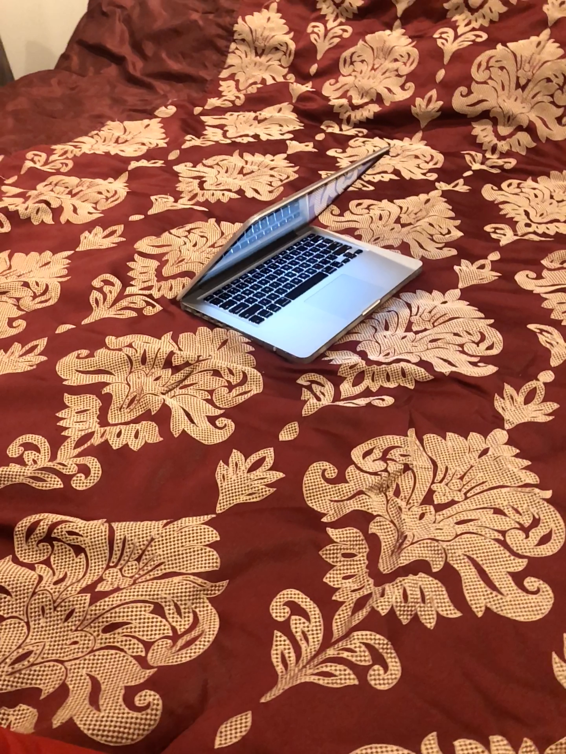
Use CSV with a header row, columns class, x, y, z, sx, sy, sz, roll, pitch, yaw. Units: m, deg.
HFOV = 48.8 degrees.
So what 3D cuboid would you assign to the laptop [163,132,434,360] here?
class,x,y,z,sx,sy,sz,roll,pitch,yaw
laptop,0.032,-0.199,0.854,0.212,0.156,0.313,24,44,28
